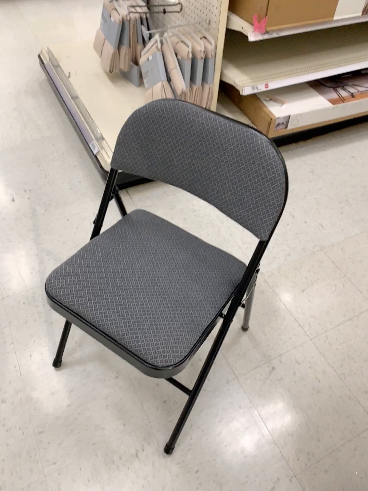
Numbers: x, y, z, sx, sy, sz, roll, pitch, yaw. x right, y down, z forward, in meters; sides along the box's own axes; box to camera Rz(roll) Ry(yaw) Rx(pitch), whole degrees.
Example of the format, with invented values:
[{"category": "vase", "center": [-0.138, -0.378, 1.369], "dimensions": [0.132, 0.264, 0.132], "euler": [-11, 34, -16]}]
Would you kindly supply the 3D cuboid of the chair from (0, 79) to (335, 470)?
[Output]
[{"category": "chair", "center": [-0.063, 0.085, 0.965], "dimensions": [0.501, 0.677, 0.552], "euler": [28, 54, 19]}]
